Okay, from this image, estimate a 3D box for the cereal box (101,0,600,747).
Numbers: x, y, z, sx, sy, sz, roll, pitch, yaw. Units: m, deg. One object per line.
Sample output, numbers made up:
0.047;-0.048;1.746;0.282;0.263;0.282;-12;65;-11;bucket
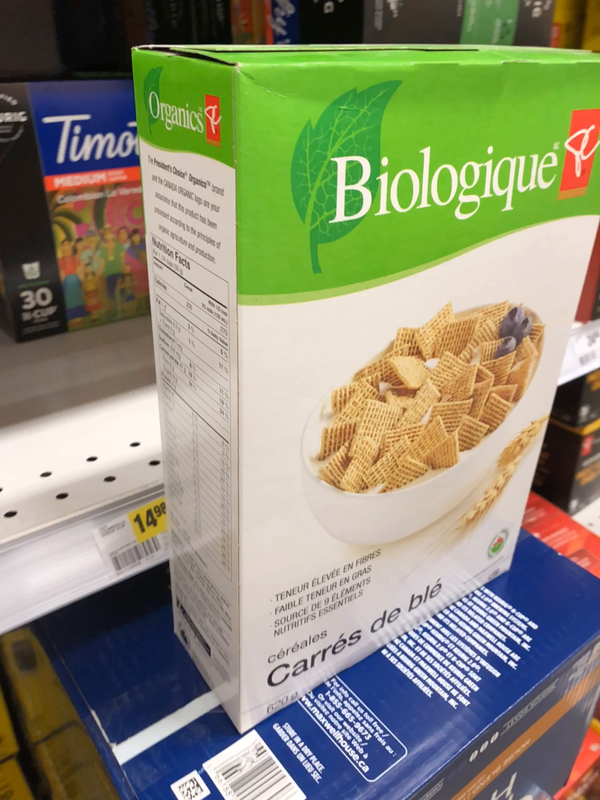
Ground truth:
0.039;-0.012;0.305;0.210;0.289;0.070;-18;37;-31;cereal box
